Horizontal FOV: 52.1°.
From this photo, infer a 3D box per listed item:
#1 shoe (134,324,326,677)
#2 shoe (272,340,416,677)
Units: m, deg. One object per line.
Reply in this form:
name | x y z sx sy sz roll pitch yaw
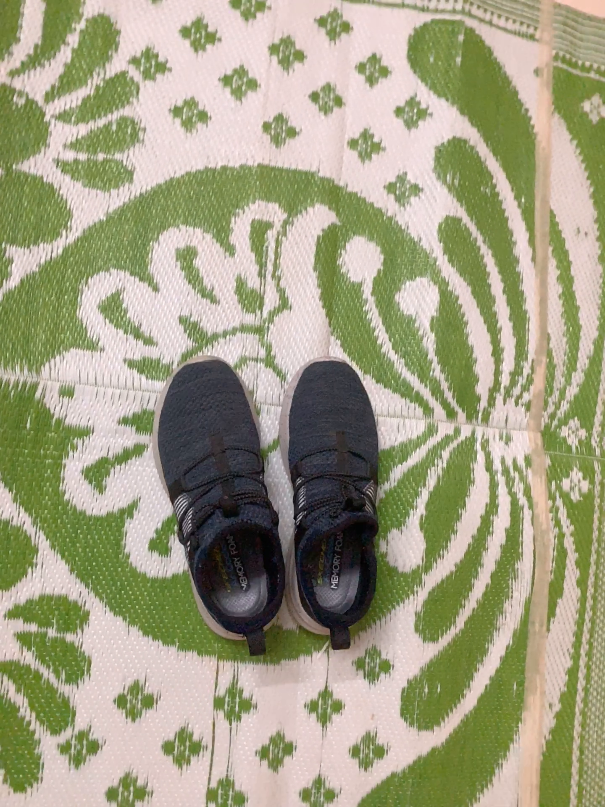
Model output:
shoe | -0.073 0.084 0.594 0.110 0.100 0.290 -12 89 -12
shoe | 0.036 0.094 0.615 0.110 0.100 0.300 -1 87 -12
